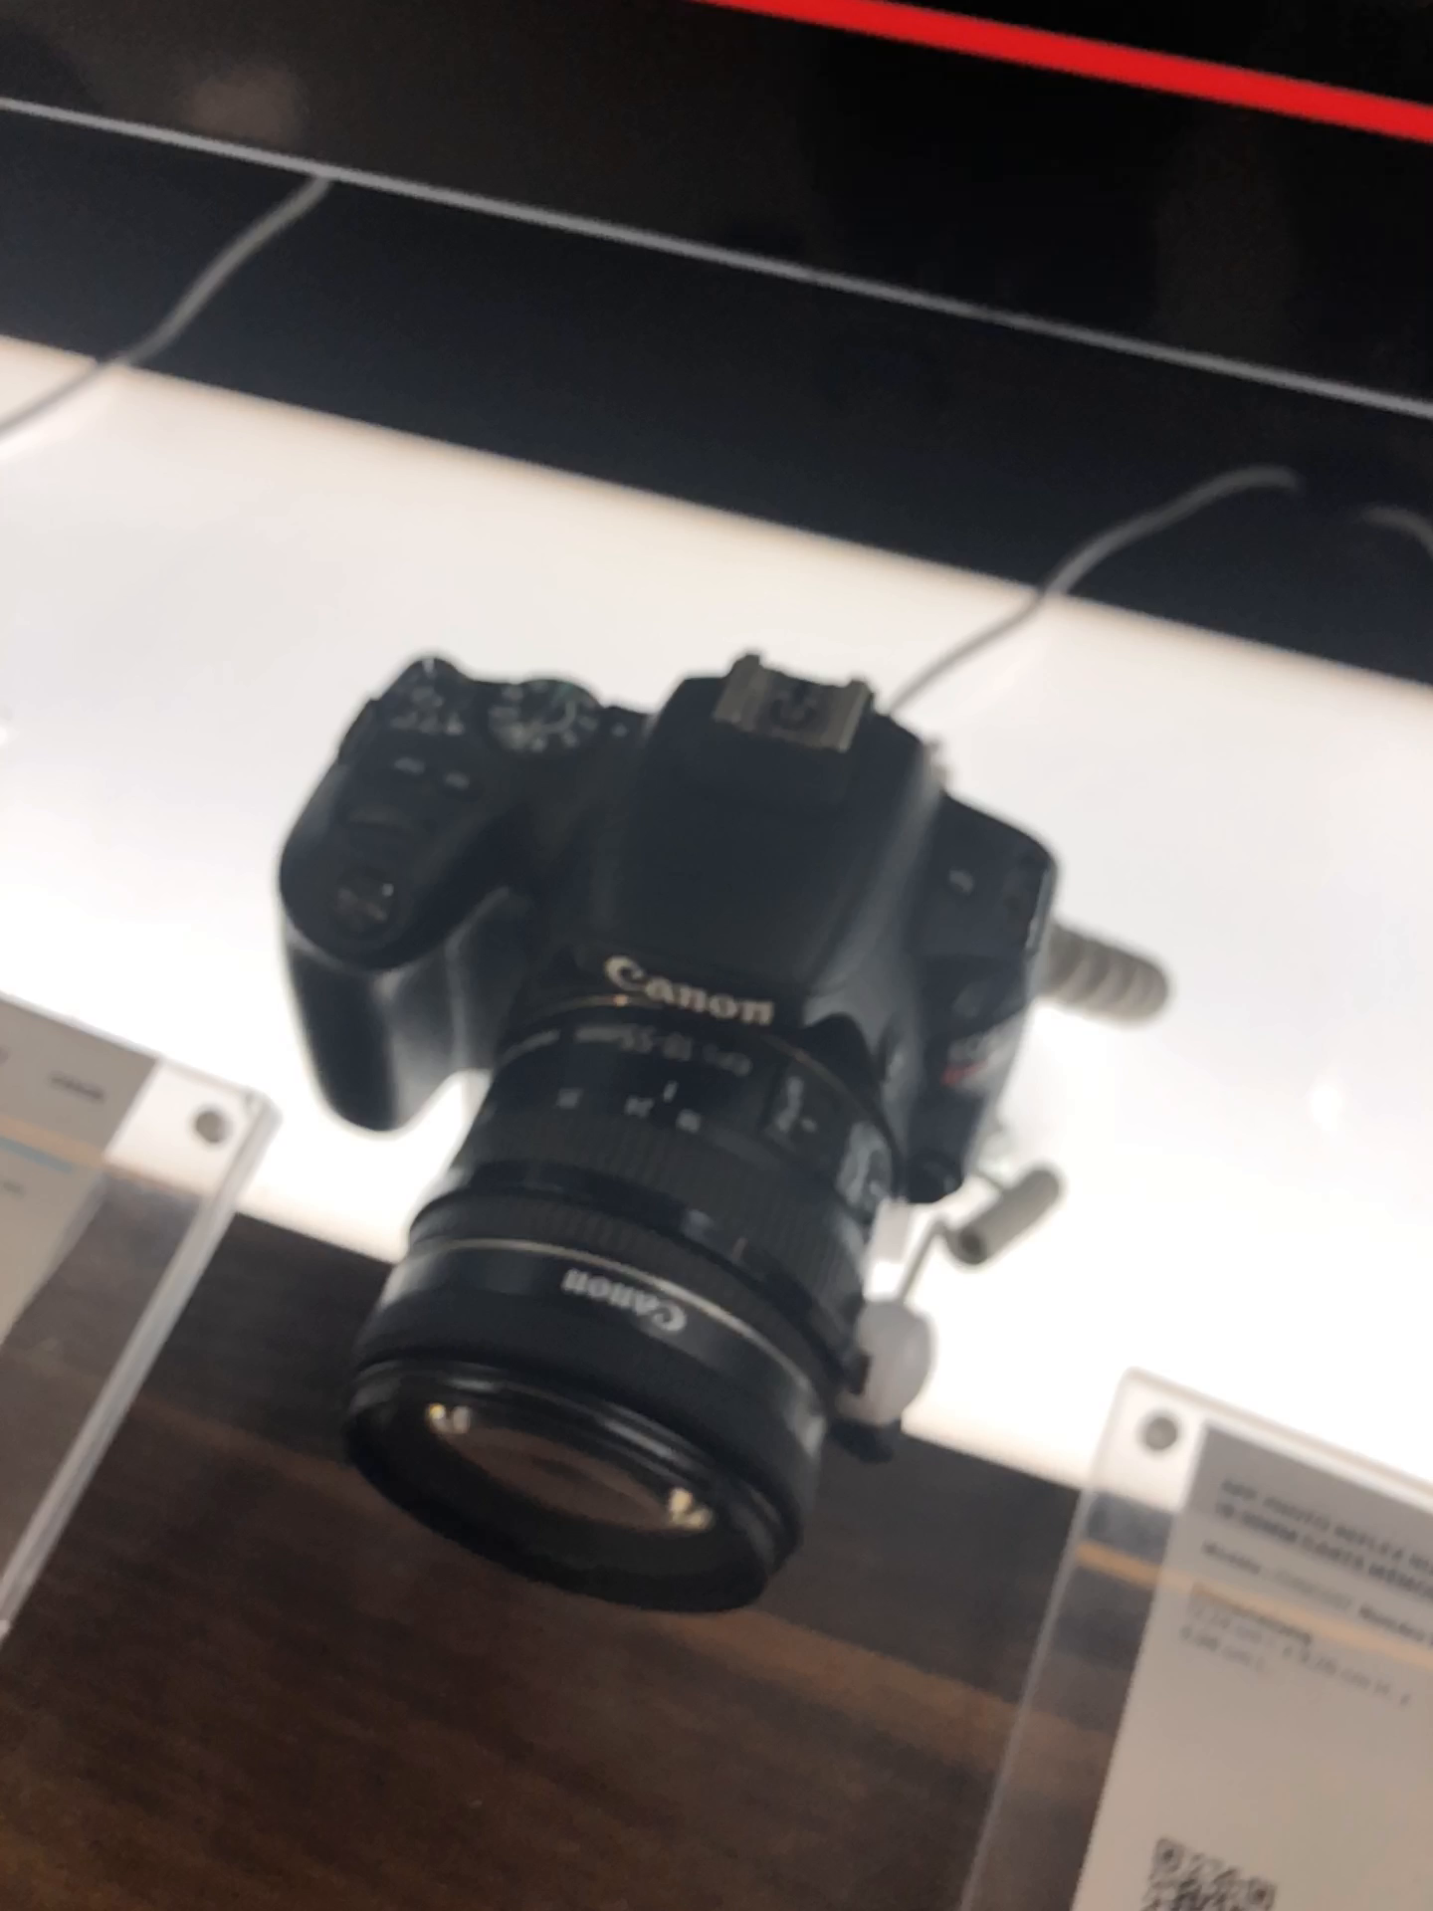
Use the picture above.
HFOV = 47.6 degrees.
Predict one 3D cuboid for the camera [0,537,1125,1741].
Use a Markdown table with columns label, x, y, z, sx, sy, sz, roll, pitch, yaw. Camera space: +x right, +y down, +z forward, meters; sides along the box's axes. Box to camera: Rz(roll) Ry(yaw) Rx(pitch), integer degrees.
| label | x | y | z | sx | sy | sz | roll | pitch | yaw |
| --- | --- | --- | --- | --- | --- | --- | --- | --- | --- |
| camera | -0.021 | 0.020 | 0.236 | 0.124 | 0.082 | 0.119 | 16 | 50 | 9 |
